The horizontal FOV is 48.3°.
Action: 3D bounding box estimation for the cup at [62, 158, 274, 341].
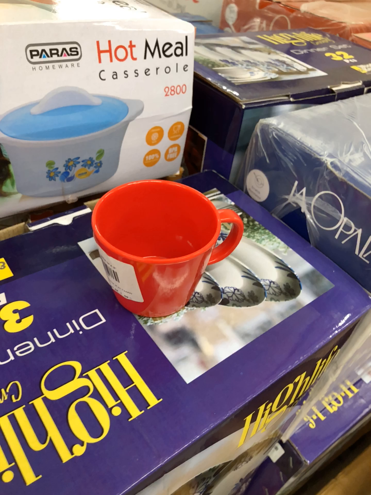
[{"bbox_3d":[-0.012,-0.006,0.265,0.100,0.050,0.080,-23,50,-32],"label":"cup"}]
